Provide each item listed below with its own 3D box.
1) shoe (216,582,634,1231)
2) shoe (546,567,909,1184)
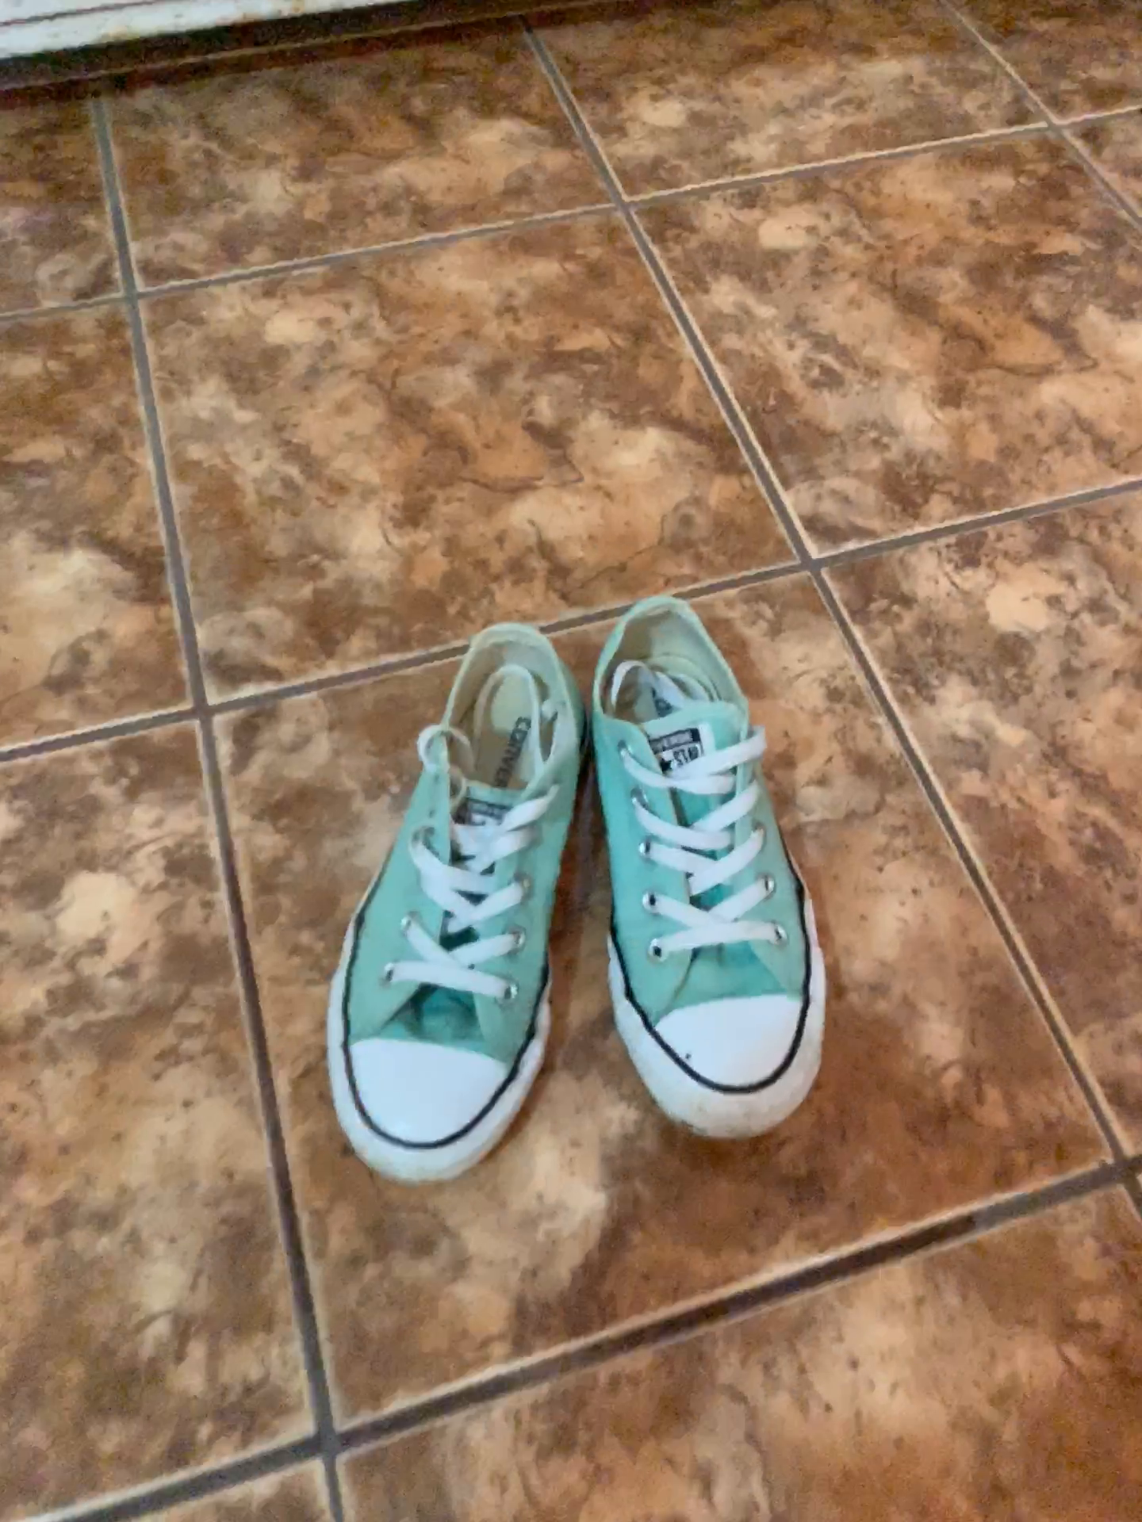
[{"bbox_3d":[-0.047,0.054,0.493,0.098,0.094,0.244,11,58,6],"label":"shoe"},{"bbox_3d":[0.053,0.041,0.499,0.094,0.084,0.244,-7,58,-5],"label":"shoe"}]
